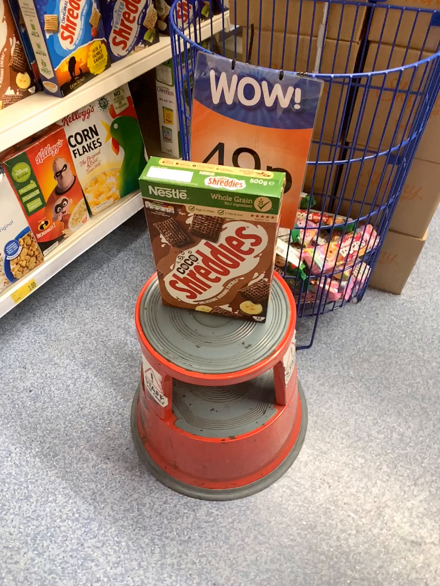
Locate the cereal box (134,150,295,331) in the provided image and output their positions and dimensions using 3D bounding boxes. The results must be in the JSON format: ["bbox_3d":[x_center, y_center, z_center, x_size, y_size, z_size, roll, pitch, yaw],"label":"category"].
[{"bbox_3d":[-0.005,-0.067,0.691,0.200,0.278,0.071,10,51,9],"label":"cereal box"}]
